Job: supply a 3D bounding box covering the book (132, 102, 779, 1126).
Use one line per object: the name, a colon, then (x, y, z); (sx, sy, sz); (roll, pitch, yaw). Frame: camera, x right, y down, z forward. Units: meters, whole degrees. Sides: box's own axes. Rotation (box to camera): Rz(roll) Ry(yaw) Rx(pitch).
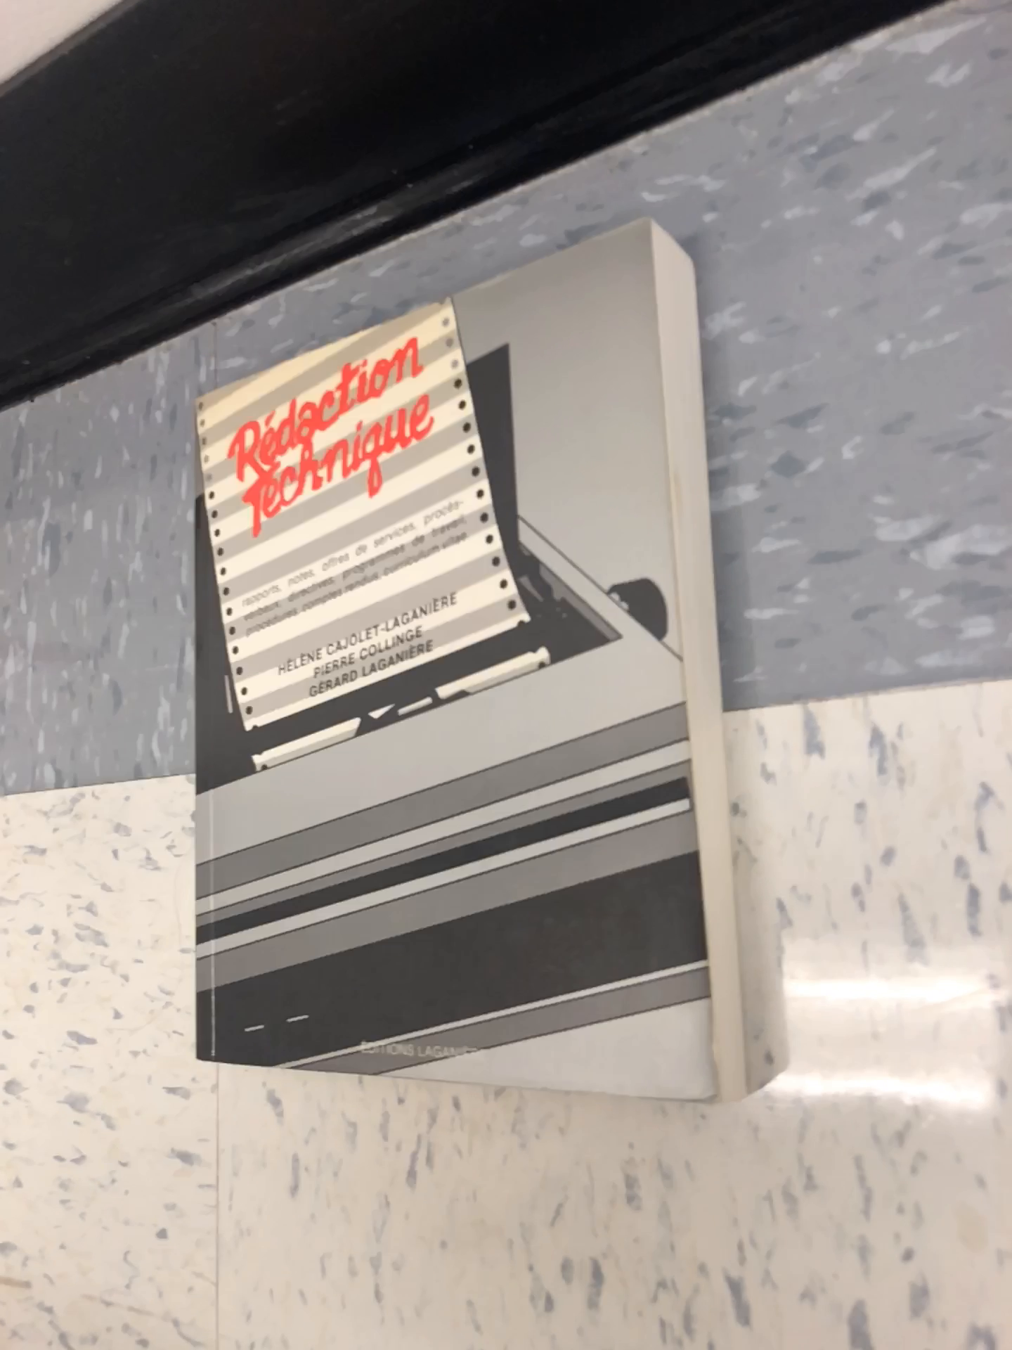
book: (-0.027, -0.008, 0.296); (0.171, 0.040, 0.220); (-9, 78, 33)
